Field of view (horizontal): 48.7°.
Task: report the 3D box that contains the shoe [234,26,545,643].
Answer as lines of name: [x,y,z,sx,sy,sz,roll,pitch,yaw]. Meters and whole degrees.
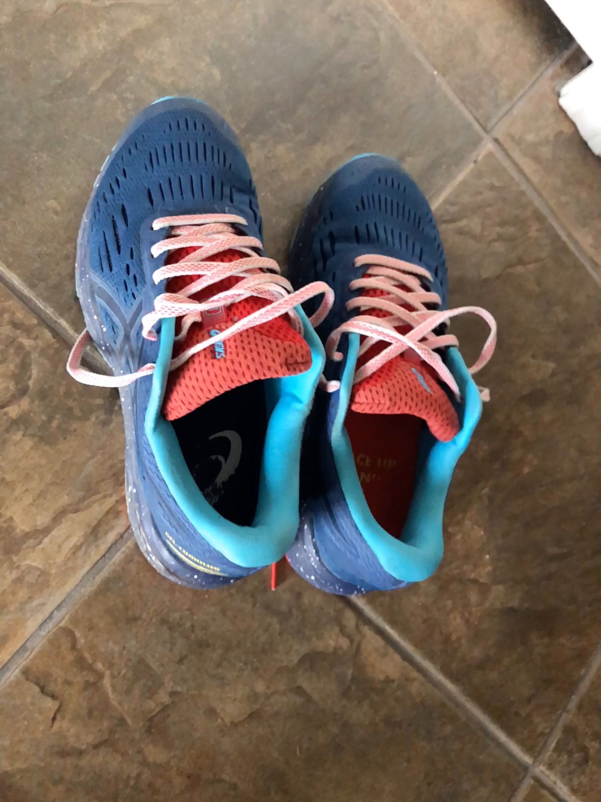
shoe: [0.048,-0.028,0.398,0.120,0.130,0.300,7,83,-21]

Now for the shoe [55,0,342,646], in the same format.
shoe: [-0.069,-0.038,0.387,0.120,0.130,0.300,-3,87,-22]
